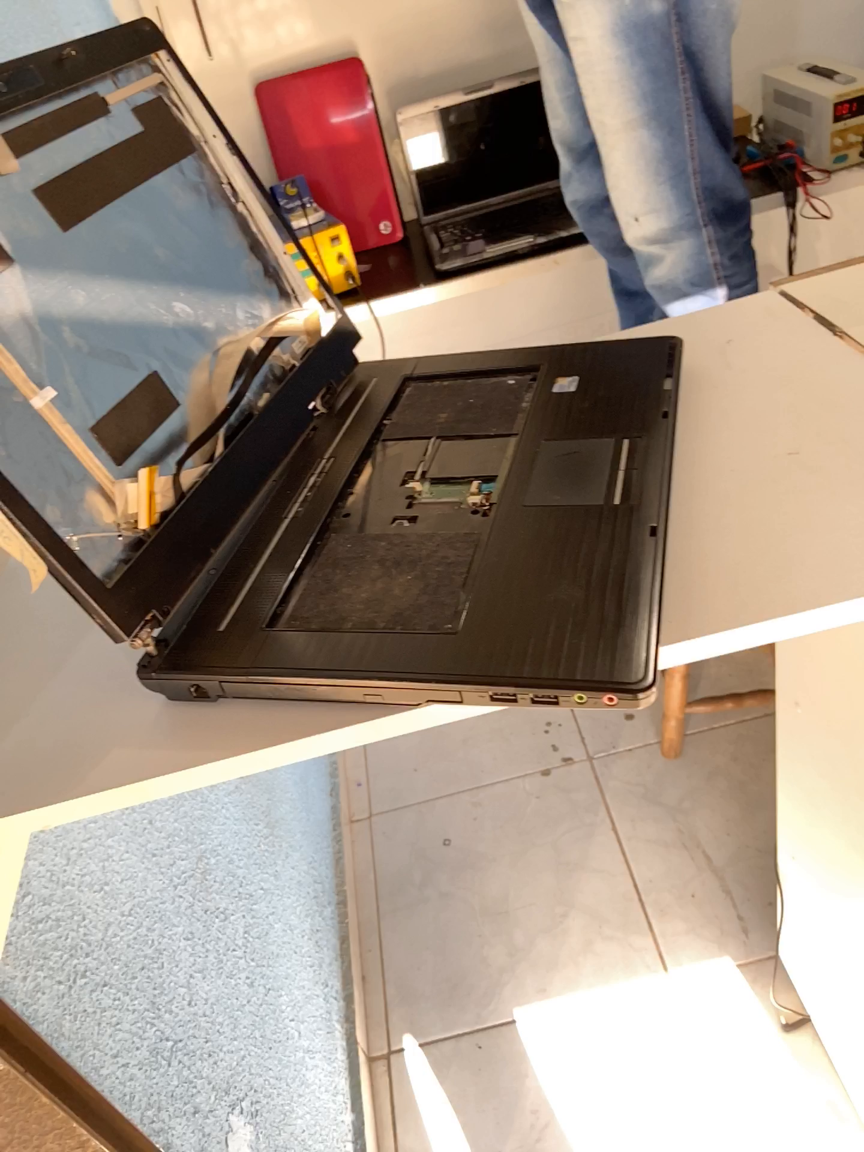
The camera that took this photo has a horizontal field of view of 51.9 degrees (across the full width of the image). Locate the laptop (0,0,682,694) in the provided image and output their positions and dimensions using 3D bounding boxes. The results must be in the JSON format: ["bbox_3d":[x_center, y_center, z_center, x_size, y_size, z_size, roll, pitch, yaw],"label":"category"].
[{"bbox_3d":[-0.059,-0.166,0.499,0.350,0.261,0.354,0,39,20],"label":"laptop"}]
